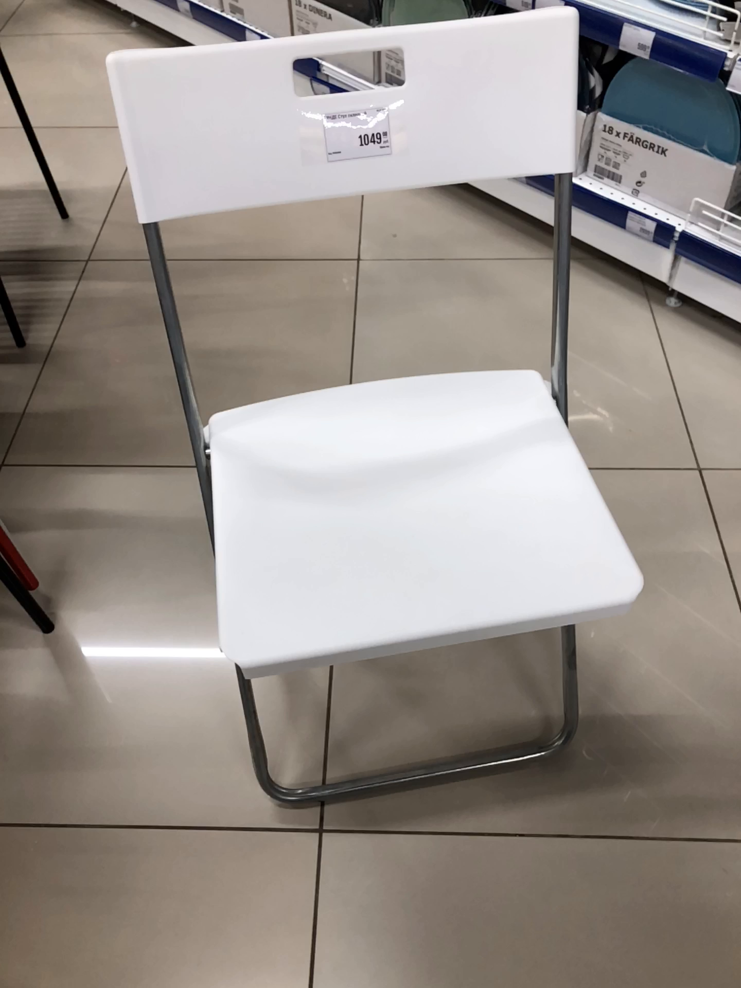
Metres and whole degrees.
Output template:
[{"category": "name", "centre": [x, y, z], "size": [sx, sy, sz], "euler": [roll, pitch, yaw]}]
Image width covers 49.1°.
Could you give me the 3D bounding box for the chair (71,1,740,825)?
[{"category": "chair", "centre": [0.029, -0.025, 0.852], "size": [0.425, 0.711, 0.433], "euler": [-8, 51, -5]}]
